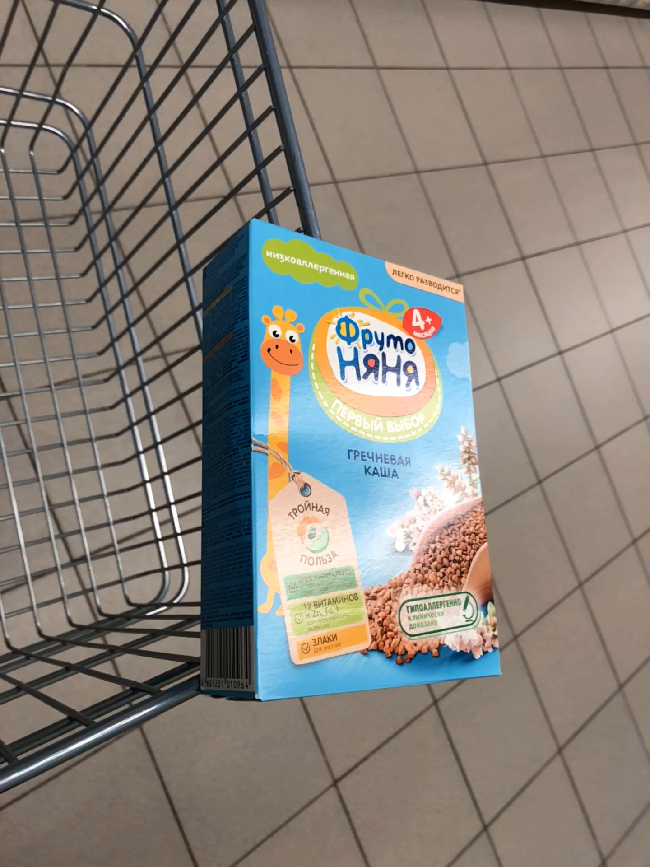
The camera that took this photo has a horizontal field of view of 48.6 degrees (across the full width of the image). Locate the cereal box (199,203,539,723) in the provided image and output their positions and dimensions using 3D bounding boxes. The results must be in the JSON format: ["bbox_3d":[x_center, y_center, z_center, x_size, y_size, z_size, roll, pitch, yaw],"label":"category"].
[{"bbox_3d":[0.019,0.016,0.344,0.150,0.050,0.210,8,71,-34],"label":"cereal box"}]
